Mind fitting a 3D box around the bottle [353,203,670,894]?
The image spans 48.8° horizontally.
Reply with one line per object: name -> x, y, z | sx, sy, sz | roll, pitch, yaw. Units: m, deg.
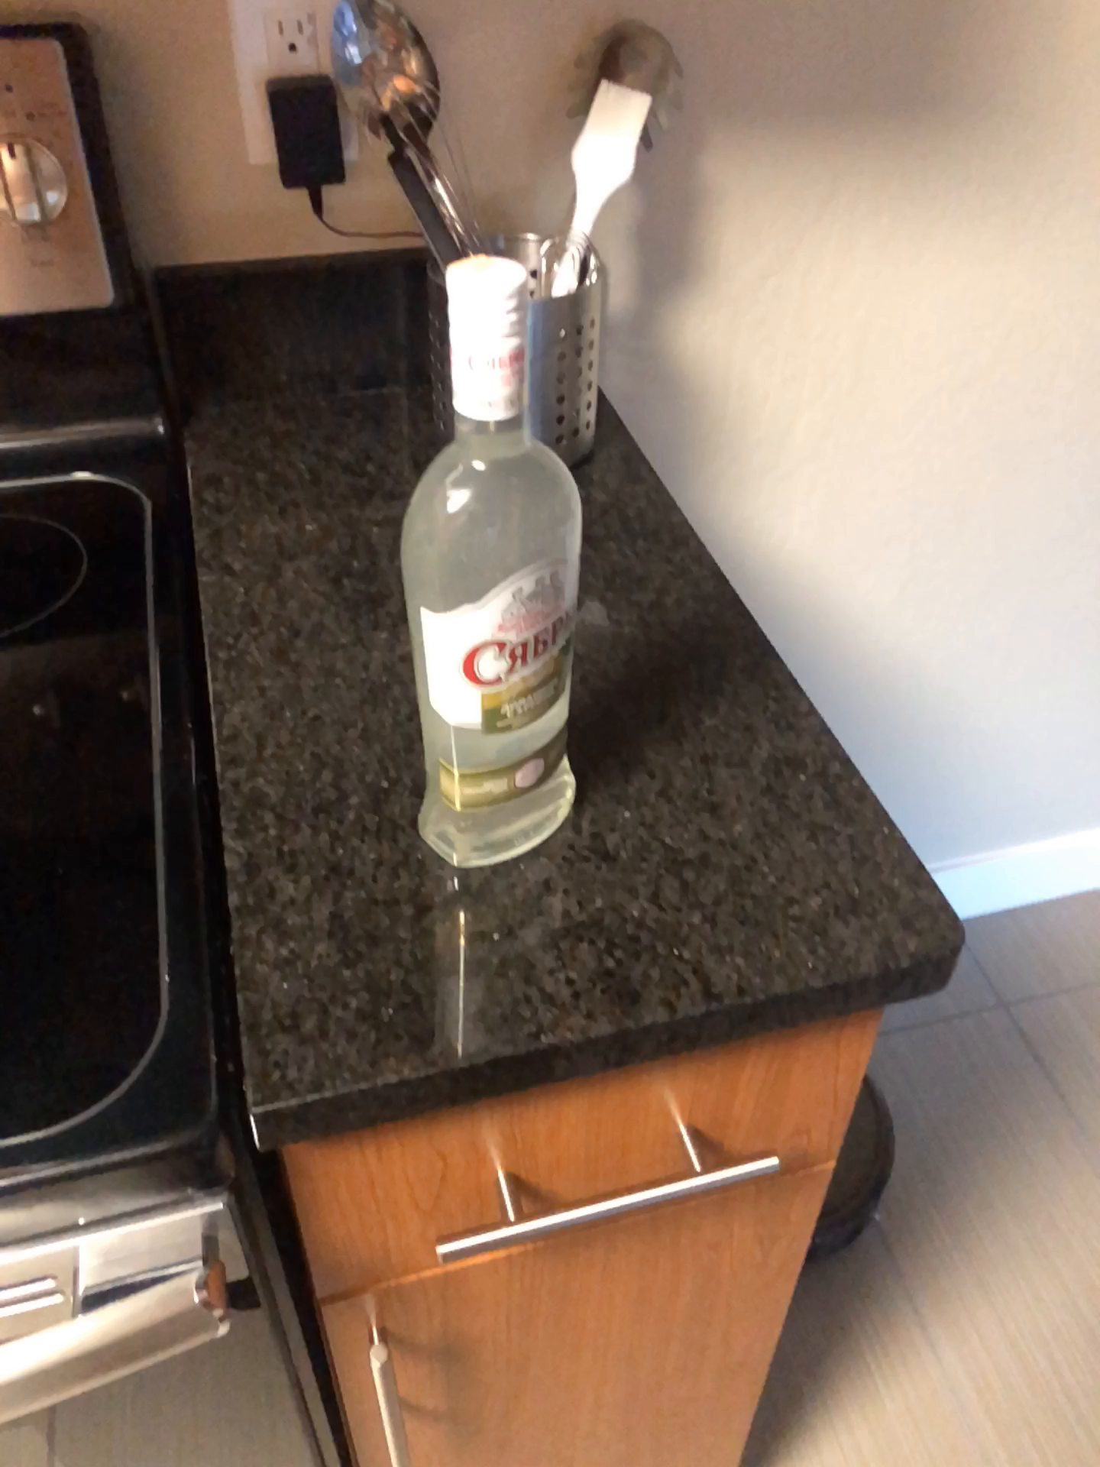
bottle -> -0.015, -0.063, 0.500 | 0.090, 0.269, 0.060 | -24, 47, -27
